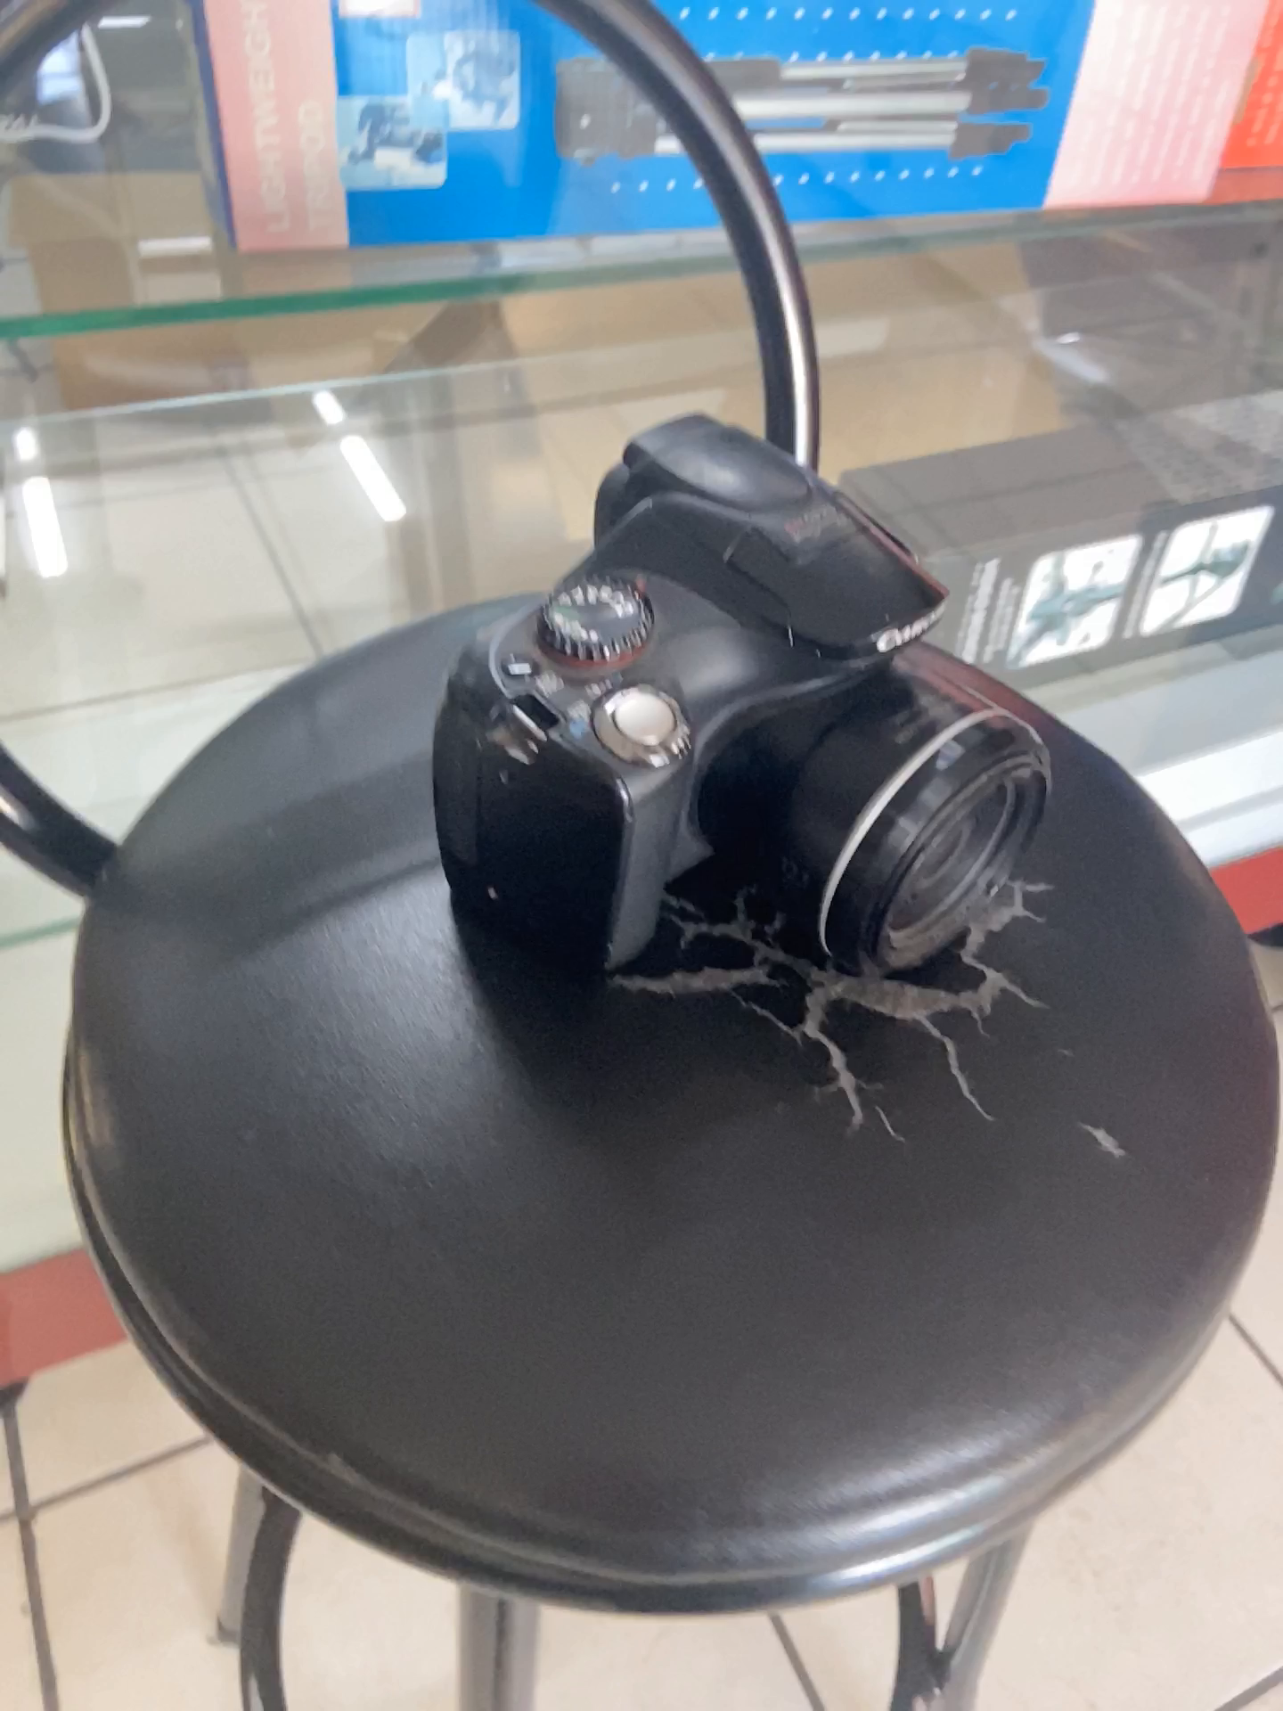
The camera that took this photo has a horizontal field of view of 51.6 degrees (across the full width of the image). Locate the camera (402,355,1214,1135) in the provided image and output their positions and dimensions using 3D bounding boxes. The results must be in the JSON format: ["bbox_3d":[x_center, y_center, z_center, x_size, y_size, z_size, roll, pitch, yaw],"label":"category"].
[{"bbox_3d":[0.032,-0.033,0.294,0.110,0.089,0.120,36,52,29],"label":"camera"}]
